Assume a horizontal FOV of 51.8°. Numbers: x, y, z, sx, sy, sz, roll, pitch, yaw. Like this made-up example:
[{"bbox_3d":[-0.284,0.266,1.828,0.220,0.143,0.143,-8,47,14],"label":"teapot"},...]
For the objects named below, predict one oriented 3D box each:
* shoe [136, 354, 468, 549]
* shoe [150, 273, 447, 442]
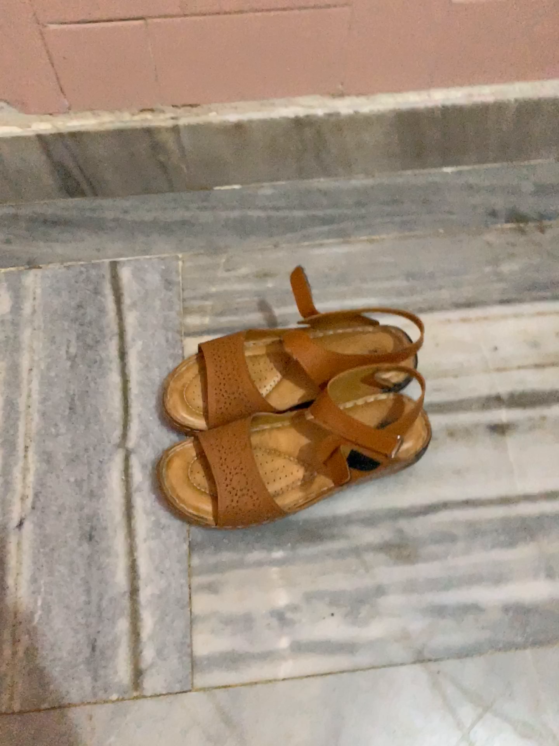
[{"bbox_3d":[0.016,0.071,0.512,0.256,0.100,0.090,-12,63,-6],"label":"shoe"},{"bbox_3d":[0.013,-0.013,0.552,0.250,0.100,0.090,-8,63,-5],"label":"shoe"}]
